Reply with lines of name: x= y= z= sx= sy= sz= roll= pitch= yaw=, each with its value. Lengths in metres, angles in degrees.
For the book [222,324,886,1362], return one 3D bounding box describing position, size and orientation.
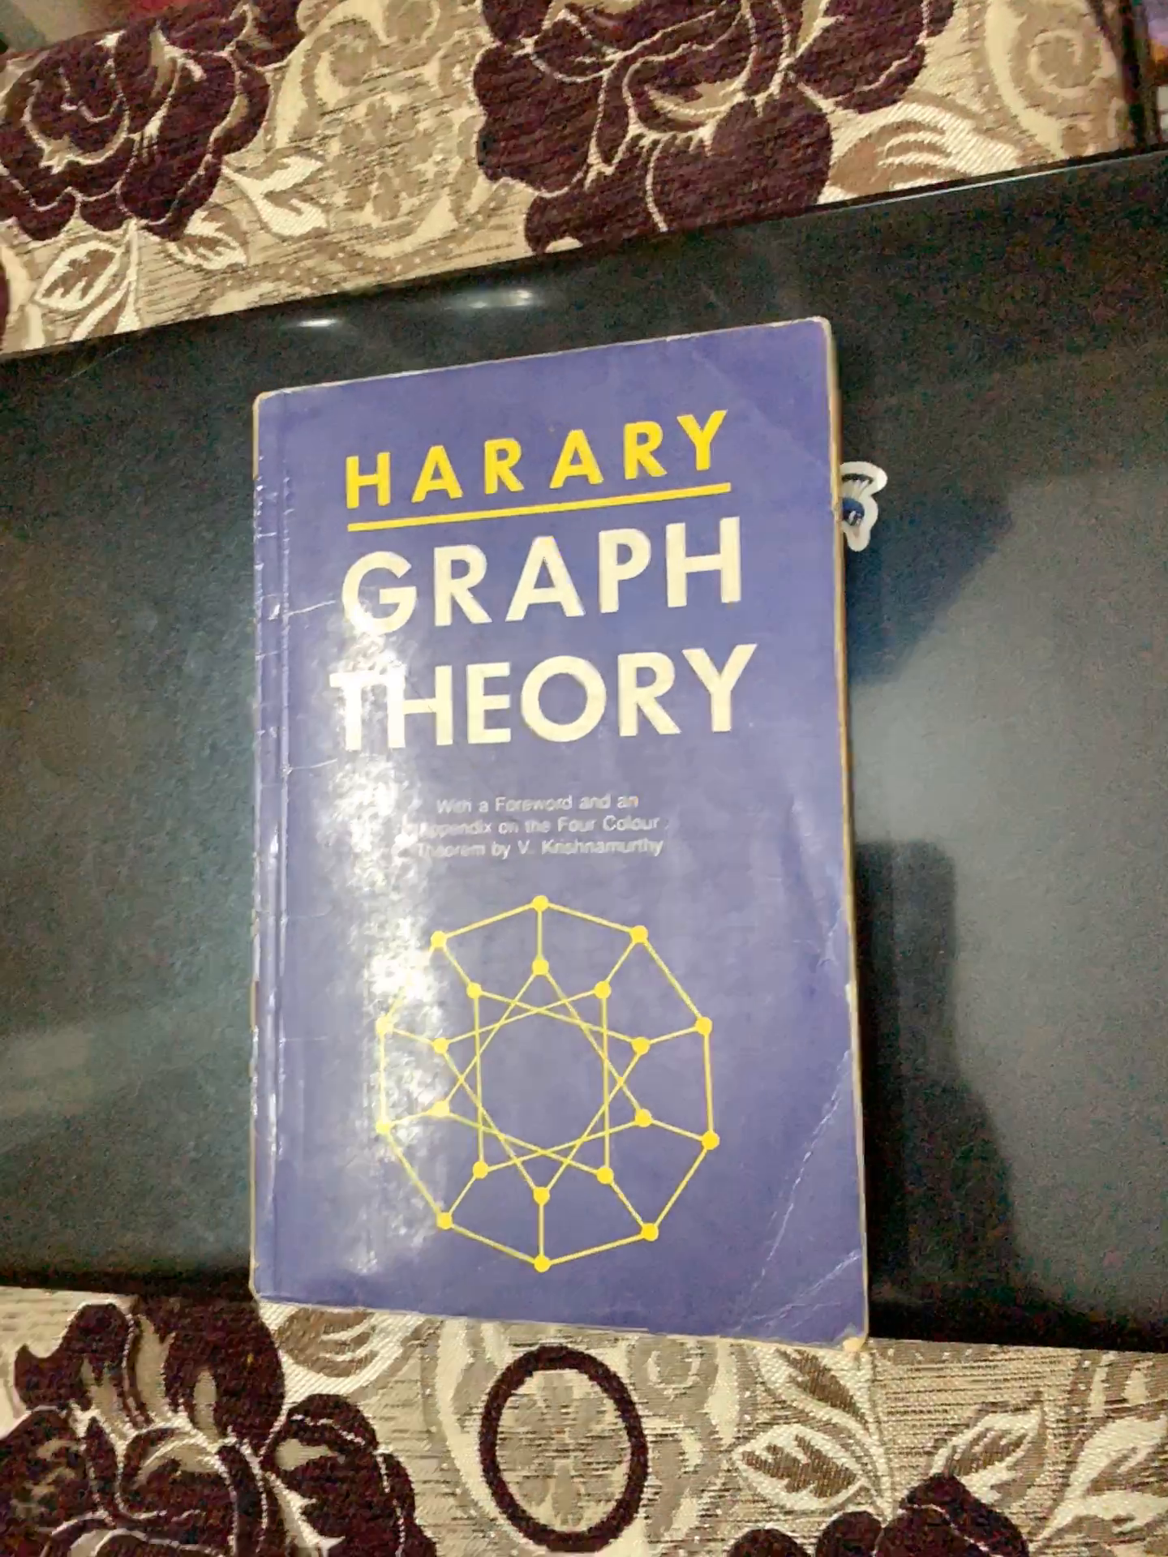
book: x=-0.010 y=0.012 z=0.263 sx=0.140 sy=0.020 sz=0.200 roll=-2 pitch=86 yaw=16
